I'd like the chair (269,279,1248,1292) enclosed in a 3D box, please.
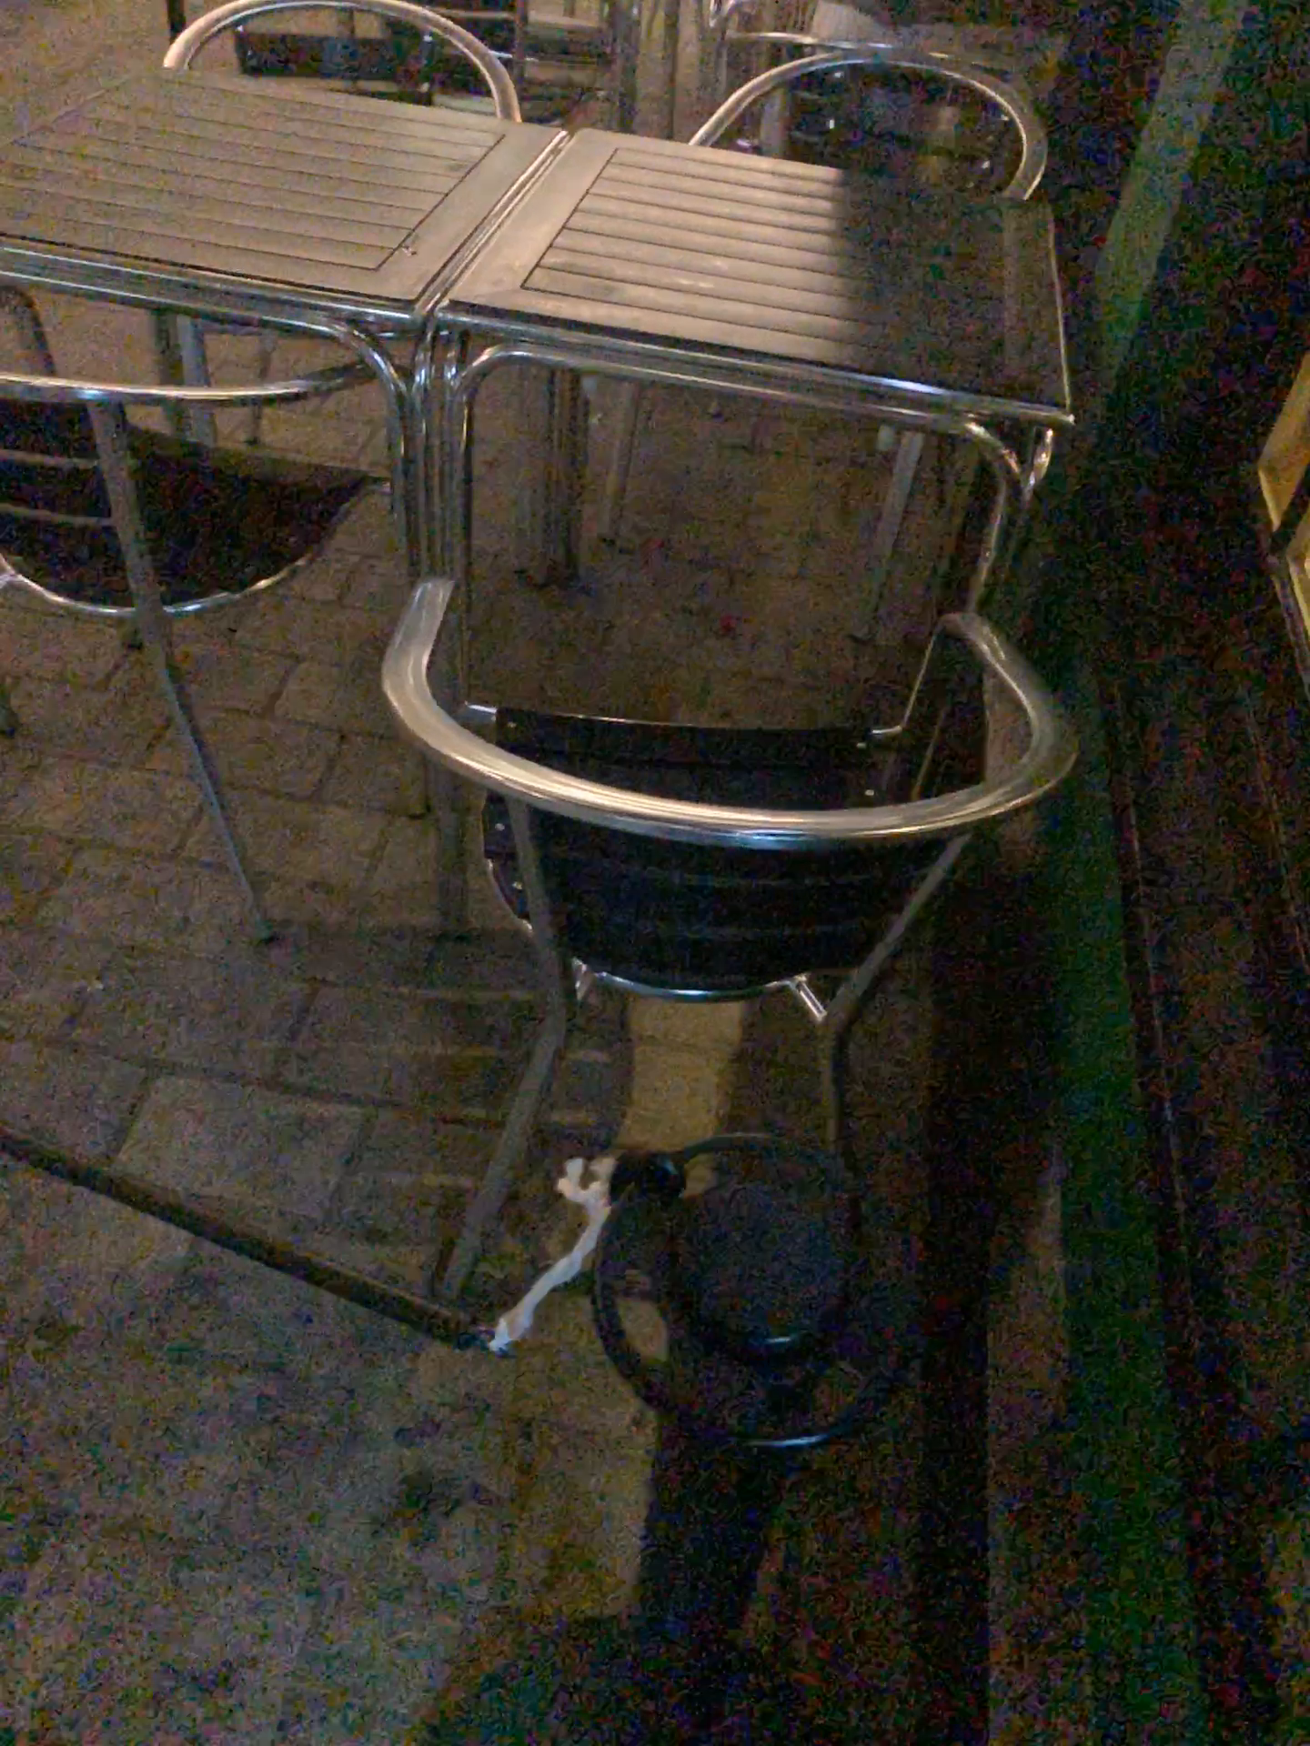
[{"bbox_3d":[0.029,-0.066,1.393,0.660,0.782,0.657,3,44,-6],"label":"chair"}]
